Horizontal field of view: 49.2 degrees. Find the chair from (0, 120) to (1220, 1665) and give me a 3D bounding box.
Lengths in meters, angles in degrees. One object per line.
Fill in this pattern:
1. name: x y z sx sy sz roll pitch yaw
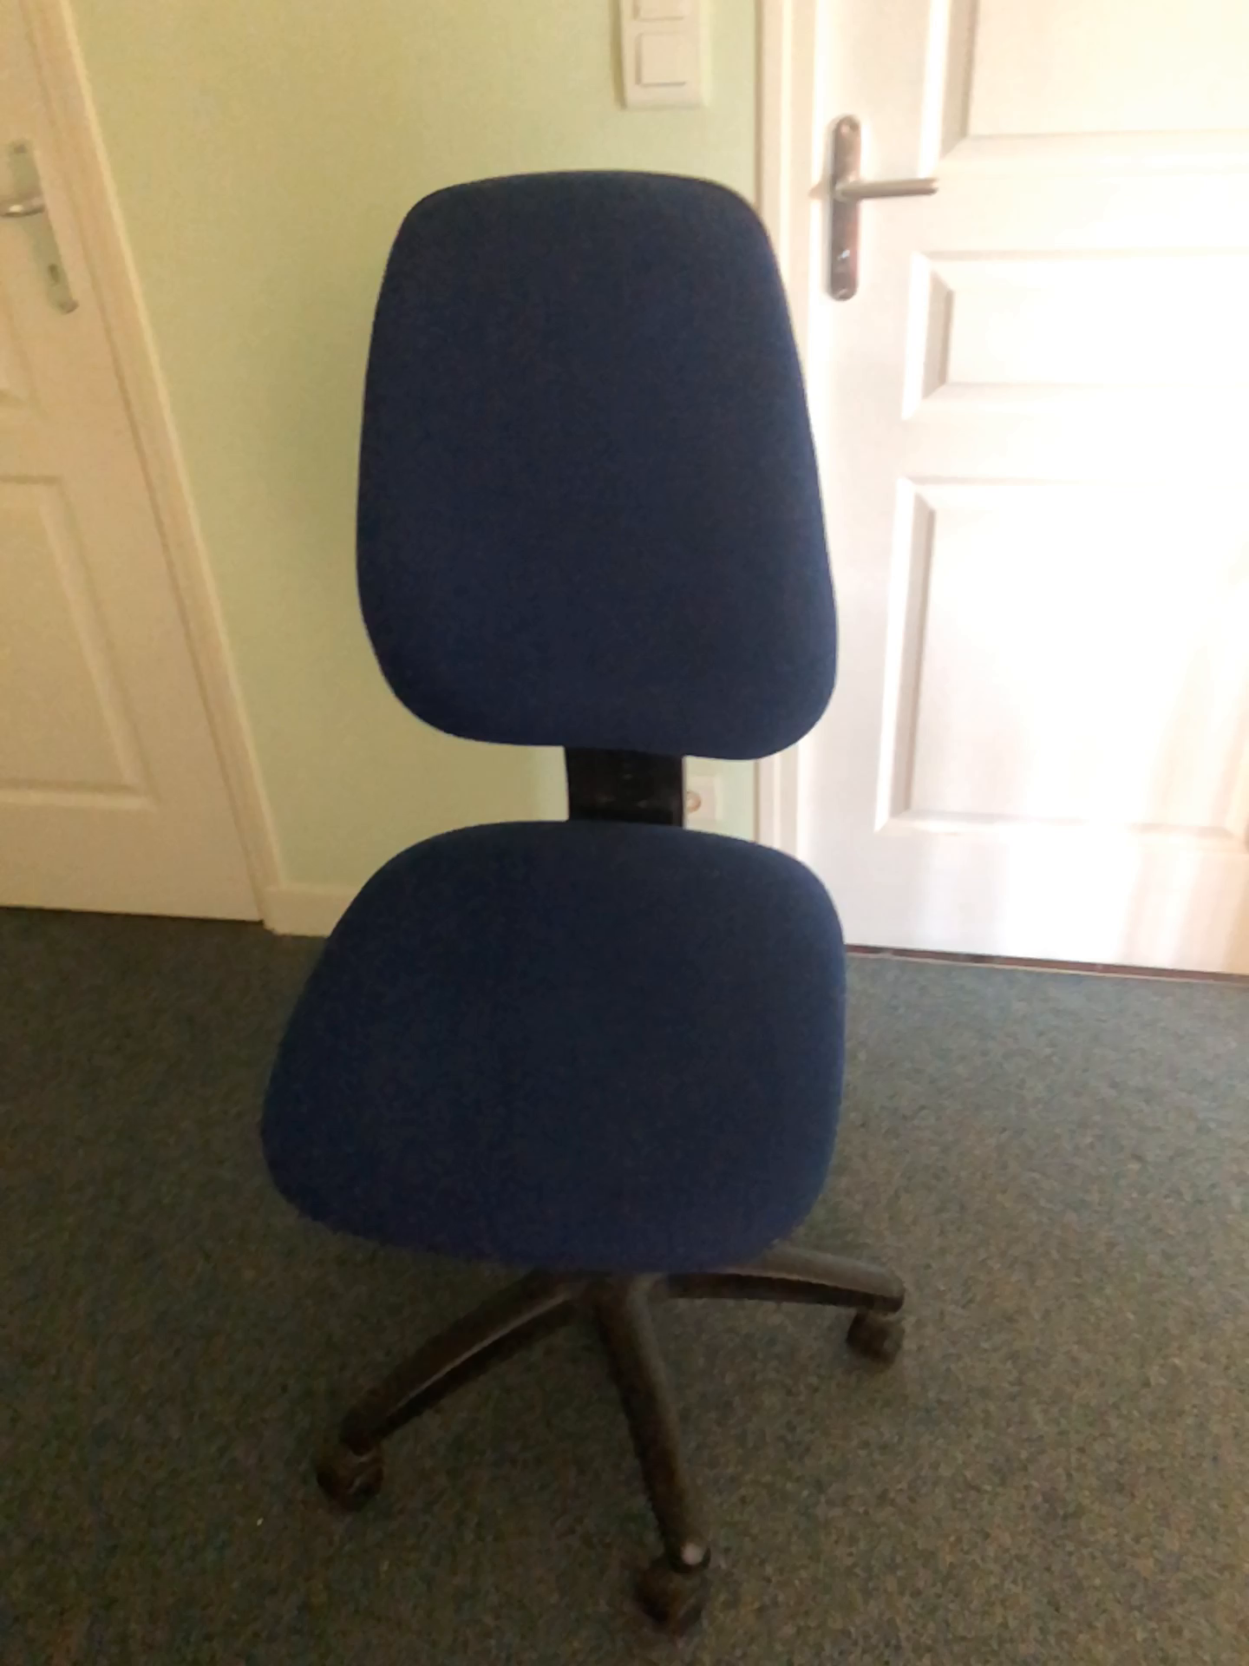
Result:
1. chair: -0.043 0.071 1.165 0.700 1.113 0.674 2 35 8
